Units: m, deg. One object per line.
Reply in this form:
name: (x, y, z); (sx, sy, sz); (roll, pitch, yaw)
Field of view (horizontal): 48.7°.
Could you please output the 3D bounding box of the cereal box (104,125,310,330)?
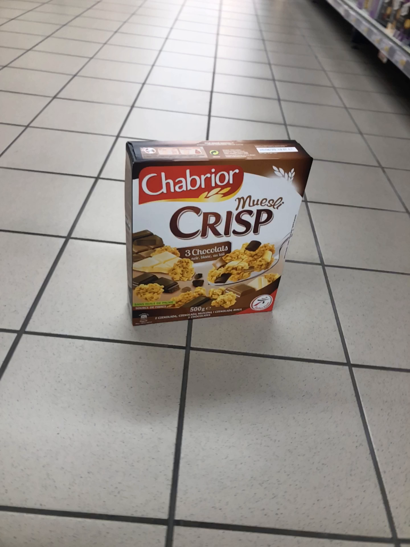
cereal box: (-0.009, -0.048, 0.526); (0.200, 0.229, 0.060); (-4, 39, -15)
